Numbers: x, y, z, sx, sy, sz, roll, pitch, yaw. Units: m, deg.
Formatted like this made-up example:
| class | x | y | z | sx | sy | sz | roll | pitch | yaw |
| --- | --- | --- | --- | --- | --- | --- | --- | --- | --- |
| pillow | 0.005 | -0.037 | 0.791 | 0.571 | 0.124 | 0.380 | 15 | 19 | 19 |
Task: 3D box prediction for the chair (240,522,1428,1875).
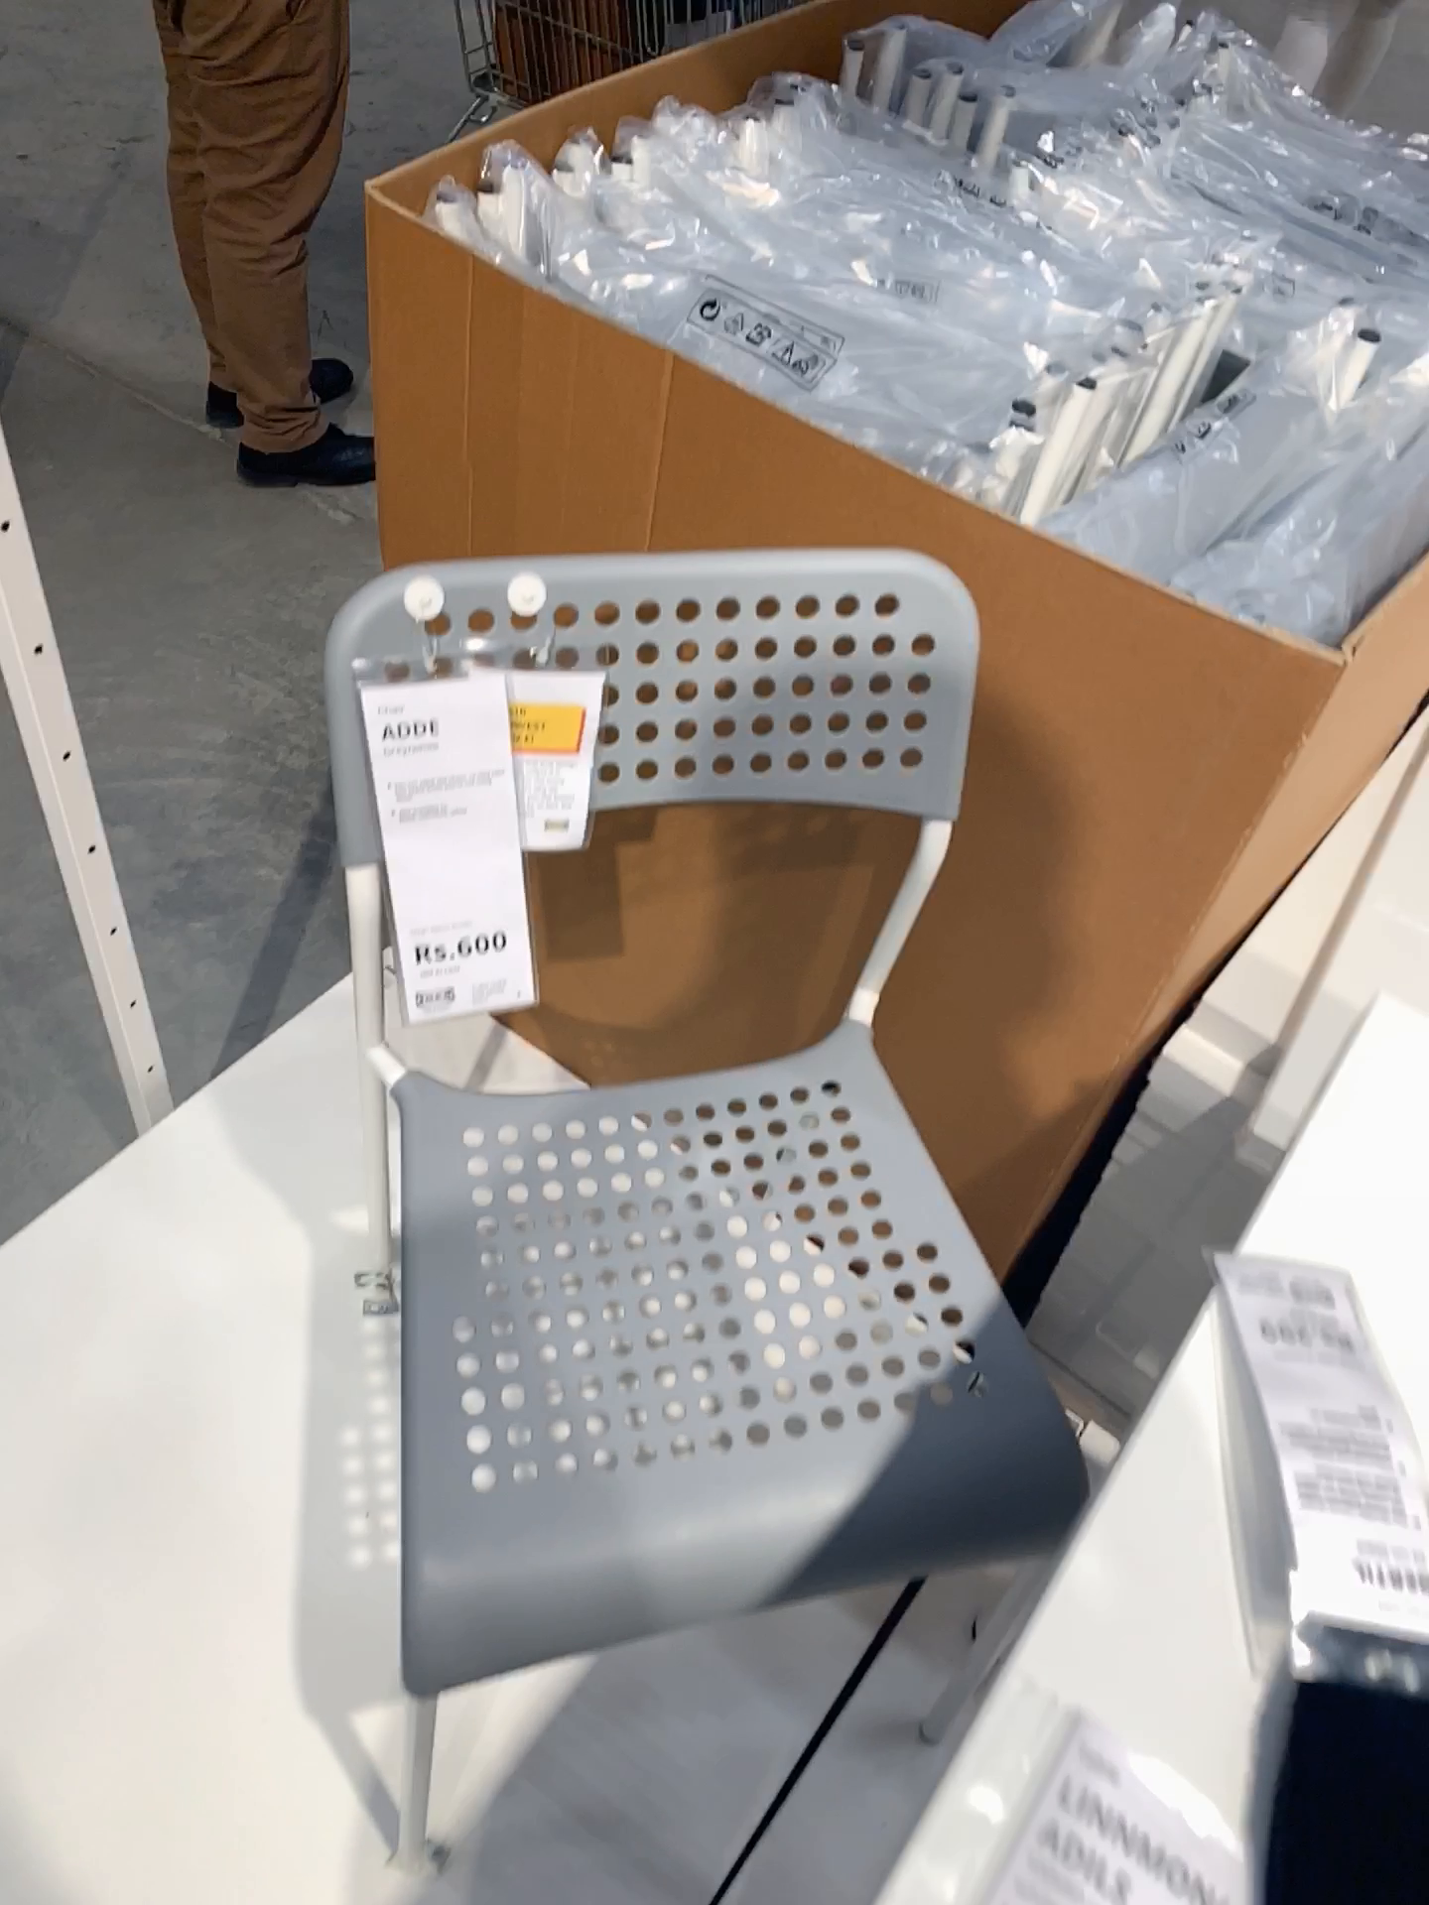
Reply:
| class | x | y | z | sx | sy | sz | roll | pitch | yaw |
| --- | --- | --- | --- | --- | --- | --- | --- | --- | --- |
| chair | -0.013 | 0.176 | 0.911 | 0.460 | 0.688 | 0.502 | -5 | 50 | -14 |
